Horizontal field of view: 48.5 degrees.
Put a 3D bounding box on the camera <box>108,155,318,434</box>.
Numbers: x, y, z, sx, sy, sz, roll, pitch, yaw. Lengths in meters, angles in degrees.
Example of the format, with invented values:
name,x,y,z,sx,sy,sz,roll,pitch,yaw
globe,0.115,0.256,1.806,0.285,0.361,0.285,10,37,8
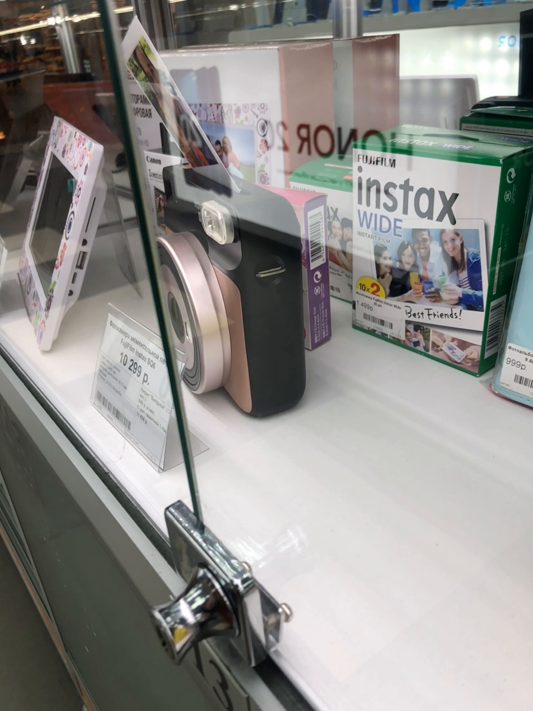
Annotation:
name,x,y,z,sx,sy,sz,roll,pitch,yaw
camera,-0.034,-0.044,0.329,0.060,0.104,0.141,-16,30,-19
